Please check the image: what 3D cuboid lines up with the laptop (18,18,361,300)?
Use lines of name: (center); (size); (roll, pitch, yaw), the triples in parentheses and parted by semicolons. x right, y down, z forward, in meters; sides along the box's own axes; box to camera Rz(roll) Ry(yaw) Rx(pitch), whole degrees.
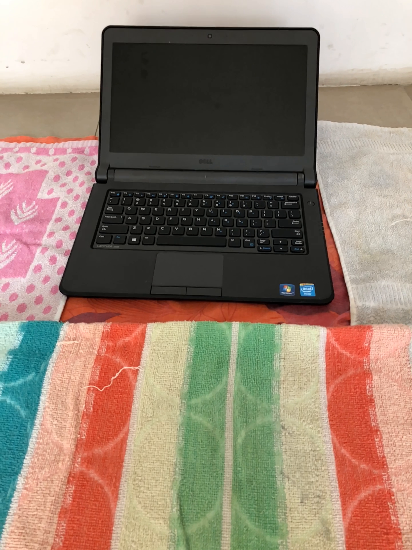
laptop: (-0.003, -0.176, 0.590); (0.313, 0.143, 0.394); (2, 50, 2)
